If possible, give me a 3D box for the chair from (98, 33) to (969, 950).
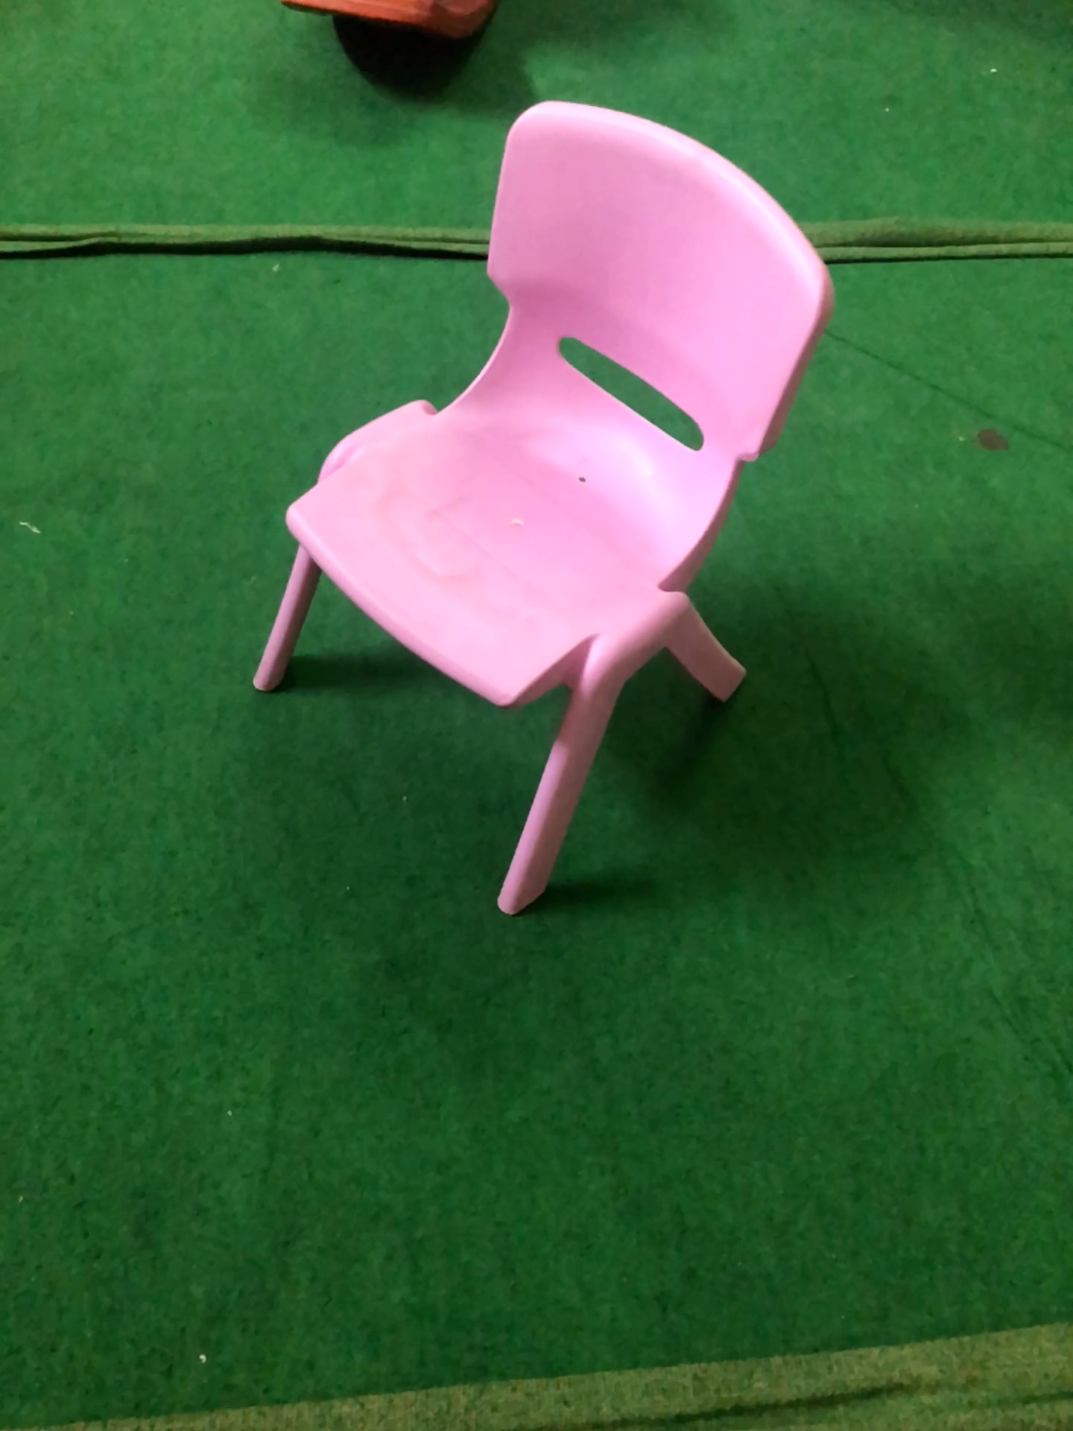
[{"bbox_3d":[-0.008,-0.165,0.937,0.380,0.449,0.410,37,60,17],"label":"chair"}]
